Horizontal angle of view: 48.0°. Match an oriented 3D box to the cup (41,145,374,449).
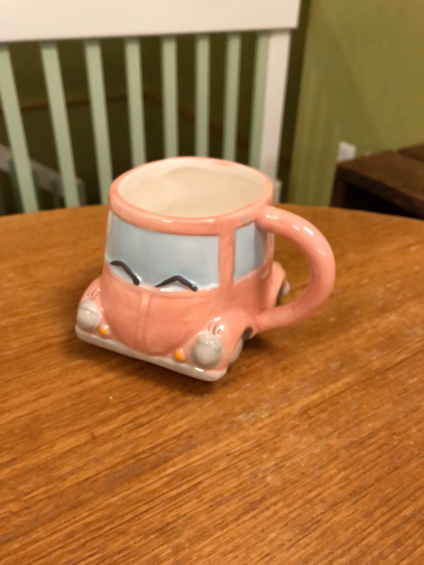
[{"bbox_3d":[0.006,-0.006,0.283,0.139,0.097,0.128,1,33,-1],"label":"cup"}]
